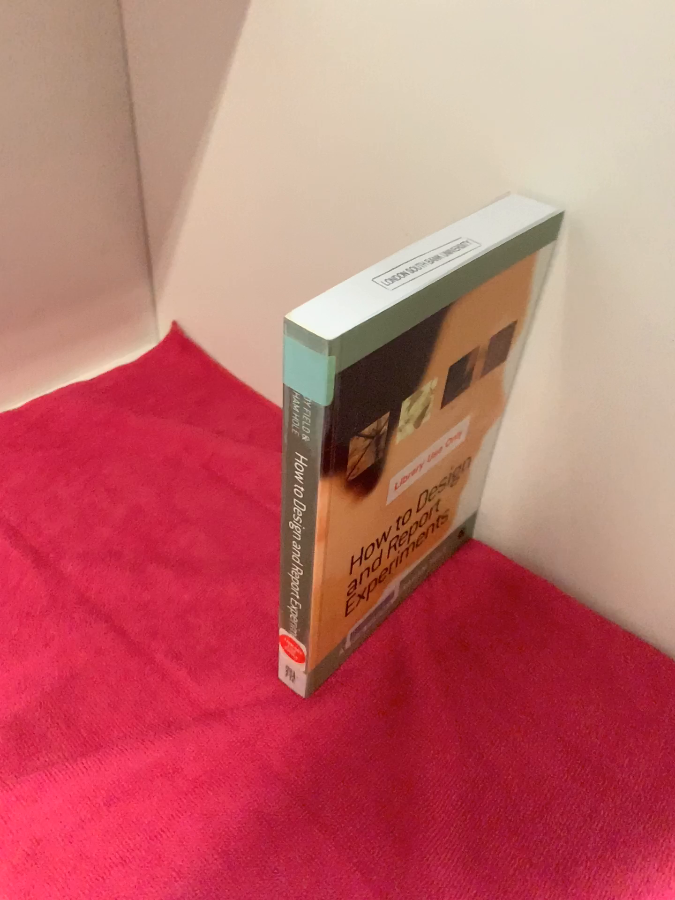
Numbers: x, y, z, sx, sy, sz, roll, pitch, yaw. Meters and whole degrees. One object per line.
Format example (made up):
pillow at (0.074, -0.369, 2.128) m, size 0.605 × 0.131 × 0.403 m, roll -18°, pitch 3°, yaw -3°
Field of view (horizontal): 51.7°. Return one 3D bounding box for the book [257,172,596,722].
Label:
book at (0.041, 0.004, 0.373) m, size 0.040 × 0.248 × 0.191 m, roll 32°, pitch 47°, yaw 28°
